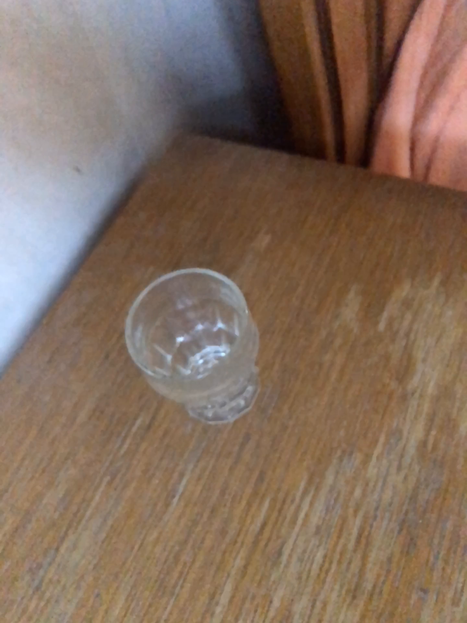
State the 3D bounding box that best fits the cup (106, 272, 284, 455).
[{"bbox_3d":[-0.012,0.026,0.254,0.060,0.070,0.060,-6,56,9],"label":"cup"}]
